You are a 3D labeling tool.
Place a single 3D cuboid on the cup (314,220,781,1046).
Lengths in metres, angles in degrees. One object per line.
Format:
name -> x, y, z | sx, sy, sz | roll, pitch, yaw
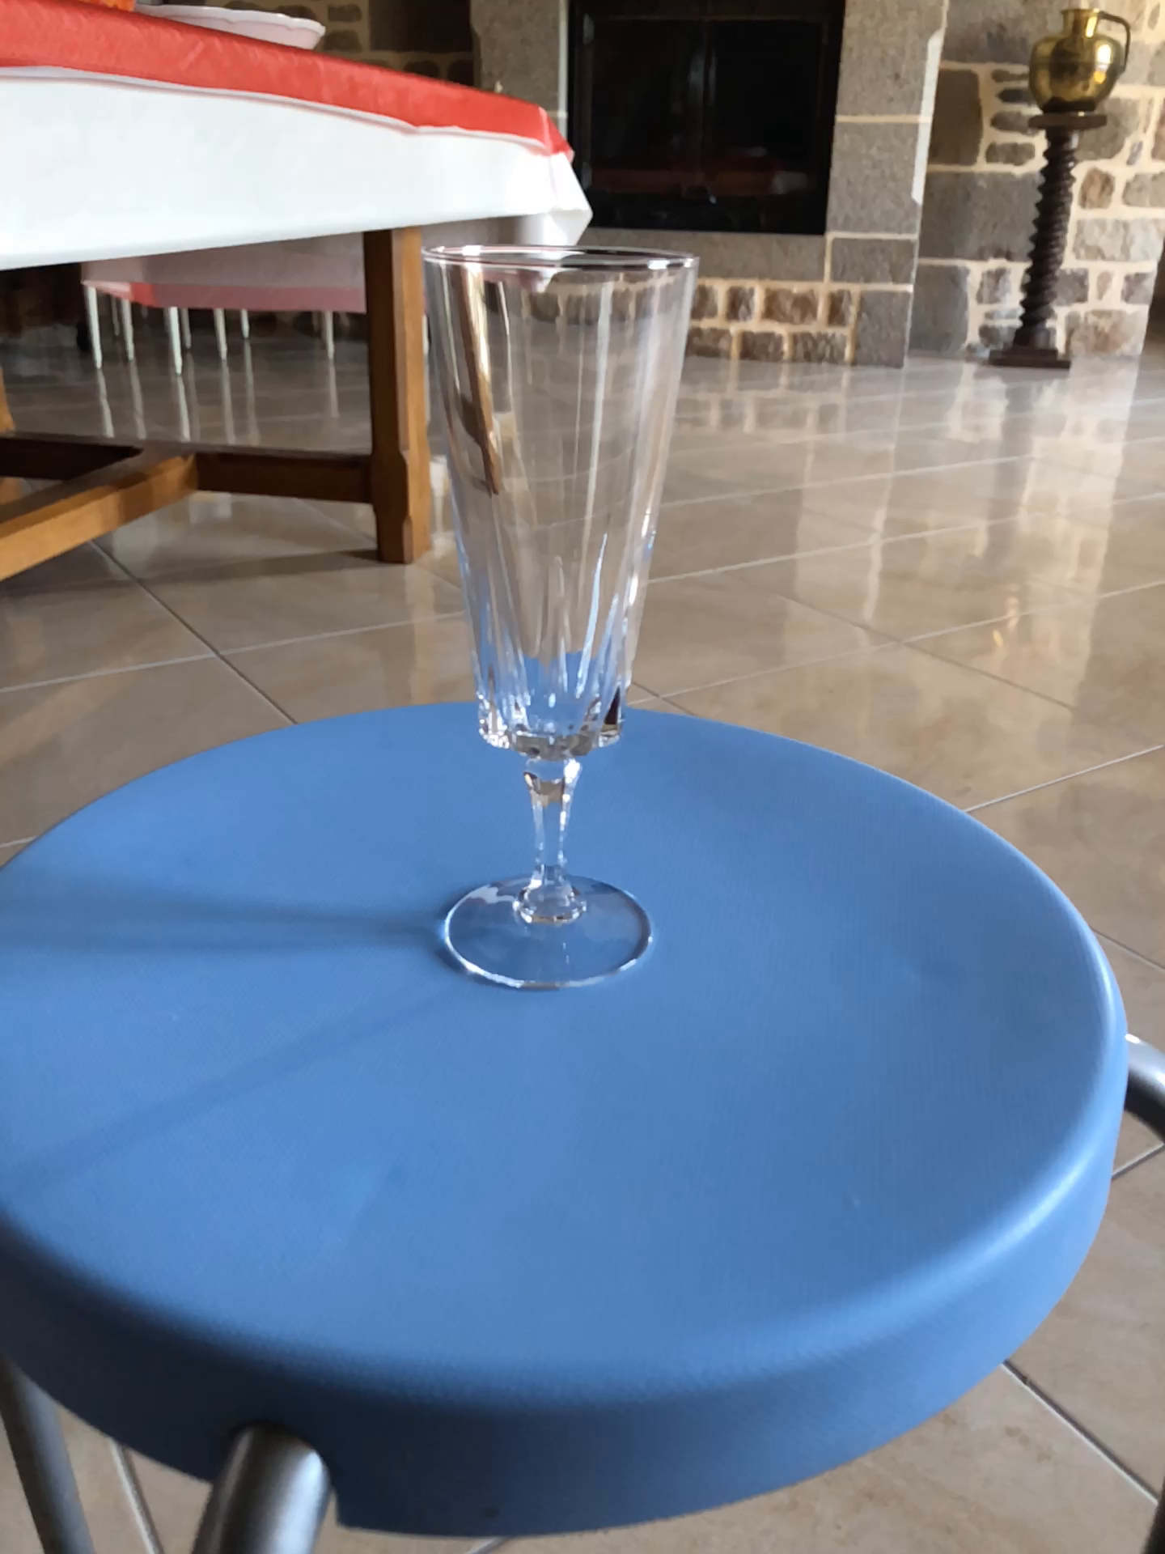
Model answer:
cup -> -0.012, -0.037, 0.313 | 0.080, 0.179, 0.070 | -10, 26, -22
